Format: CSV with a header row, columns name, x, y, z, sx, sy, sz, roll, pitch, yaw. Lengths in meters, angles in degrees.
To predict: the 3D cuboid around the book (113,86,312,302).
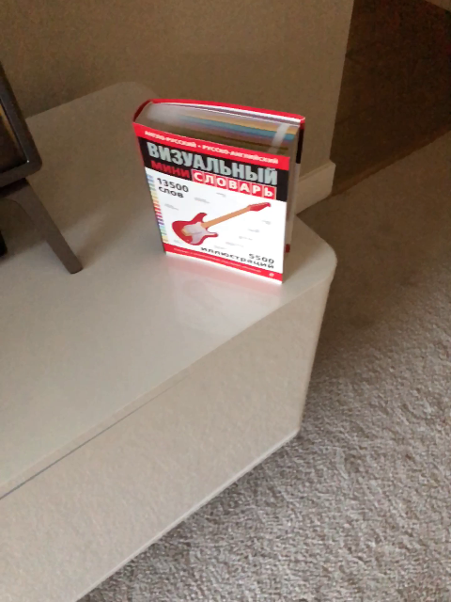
name,x,y,z,sx,sy,sz,roll,pitch,yaw
book,-0.007,-0.094,0.476,0.150,0.179,0.060,14,55,12
